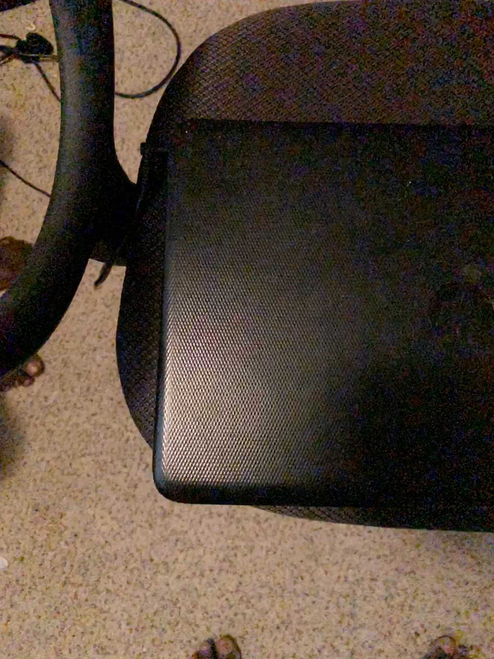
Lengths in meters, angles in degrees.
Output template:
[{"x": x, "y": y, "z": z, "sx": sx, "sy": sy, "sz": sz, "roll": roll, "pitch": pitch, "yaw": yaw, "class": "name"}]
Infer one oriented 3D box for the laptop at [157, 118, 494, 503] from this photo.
[{"x": 0.137, "y": -0.011, "z": 0.342, "sx": 0.378, "sy": 0.018, "sz": 0.245, "roll": 1, "pitch": 83, "yaw": -4, "class": "laptop"}]
